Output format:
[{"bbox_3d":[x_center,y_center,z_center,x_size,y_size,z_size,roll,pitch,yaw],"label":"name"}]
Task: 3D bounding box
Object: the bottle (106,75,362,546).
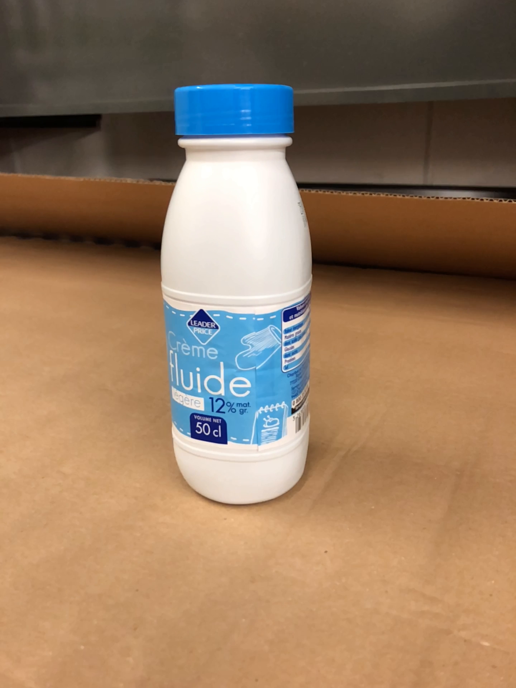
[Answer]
[{"bbox_3d":[-0.003,-0.018,0.270,0.080,0.189,0.080,-1,20,1],"label":"bottle"}]
